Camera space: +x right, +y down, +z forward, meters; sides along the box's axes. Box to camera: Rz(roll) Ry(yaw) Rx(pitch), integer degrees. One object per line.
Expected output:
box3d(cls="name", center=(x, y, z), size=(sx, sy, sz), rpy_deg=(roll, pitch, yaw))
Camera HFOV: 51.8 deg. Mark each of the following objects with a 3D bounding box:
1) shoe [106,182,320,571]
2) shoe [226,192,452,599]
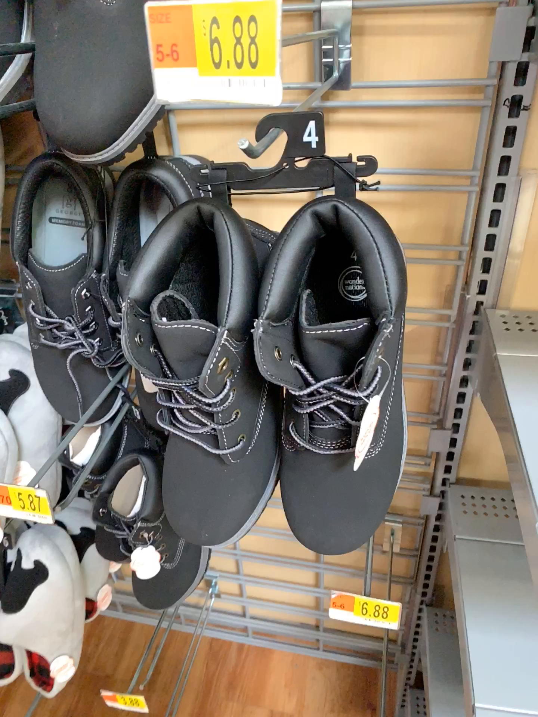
box3d(cls="shoe", center=(-0.033, 0.004, 0.377), size=(0.100, 0.229, 0.110), rpy_deg=(7, 19, 13))
box3d(cls="shoe", center=(0.042, 0.009, 0.335), size=(0.100, 0.205, 0.120), rpy_deg=(6, 18, 14))
